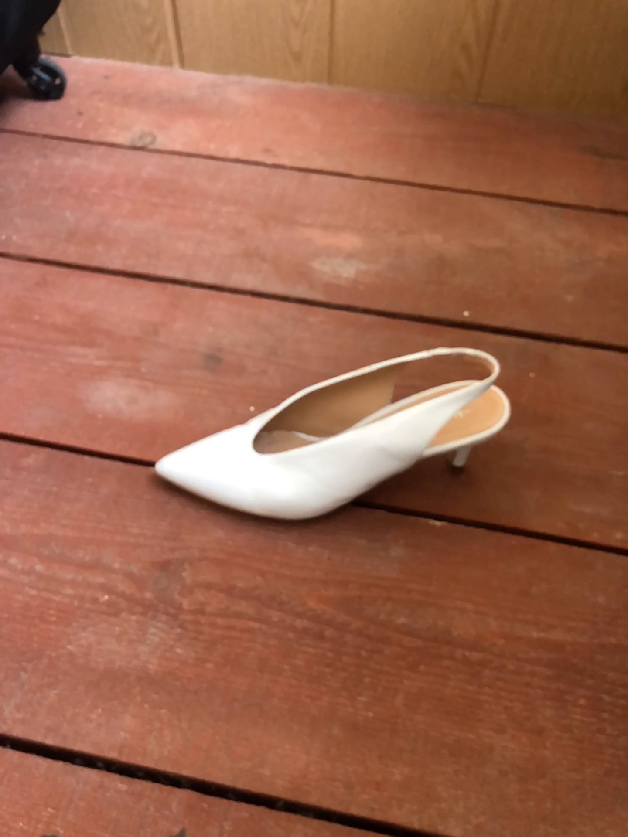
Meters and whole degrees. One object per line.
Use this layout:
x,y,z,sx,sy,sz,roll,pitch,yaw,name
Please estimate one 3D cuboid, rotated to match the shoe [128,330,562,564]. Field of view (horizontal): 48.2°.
0.014,0.017,0.447,0.240,0.080,0.100,-5,52,-4,shoe
